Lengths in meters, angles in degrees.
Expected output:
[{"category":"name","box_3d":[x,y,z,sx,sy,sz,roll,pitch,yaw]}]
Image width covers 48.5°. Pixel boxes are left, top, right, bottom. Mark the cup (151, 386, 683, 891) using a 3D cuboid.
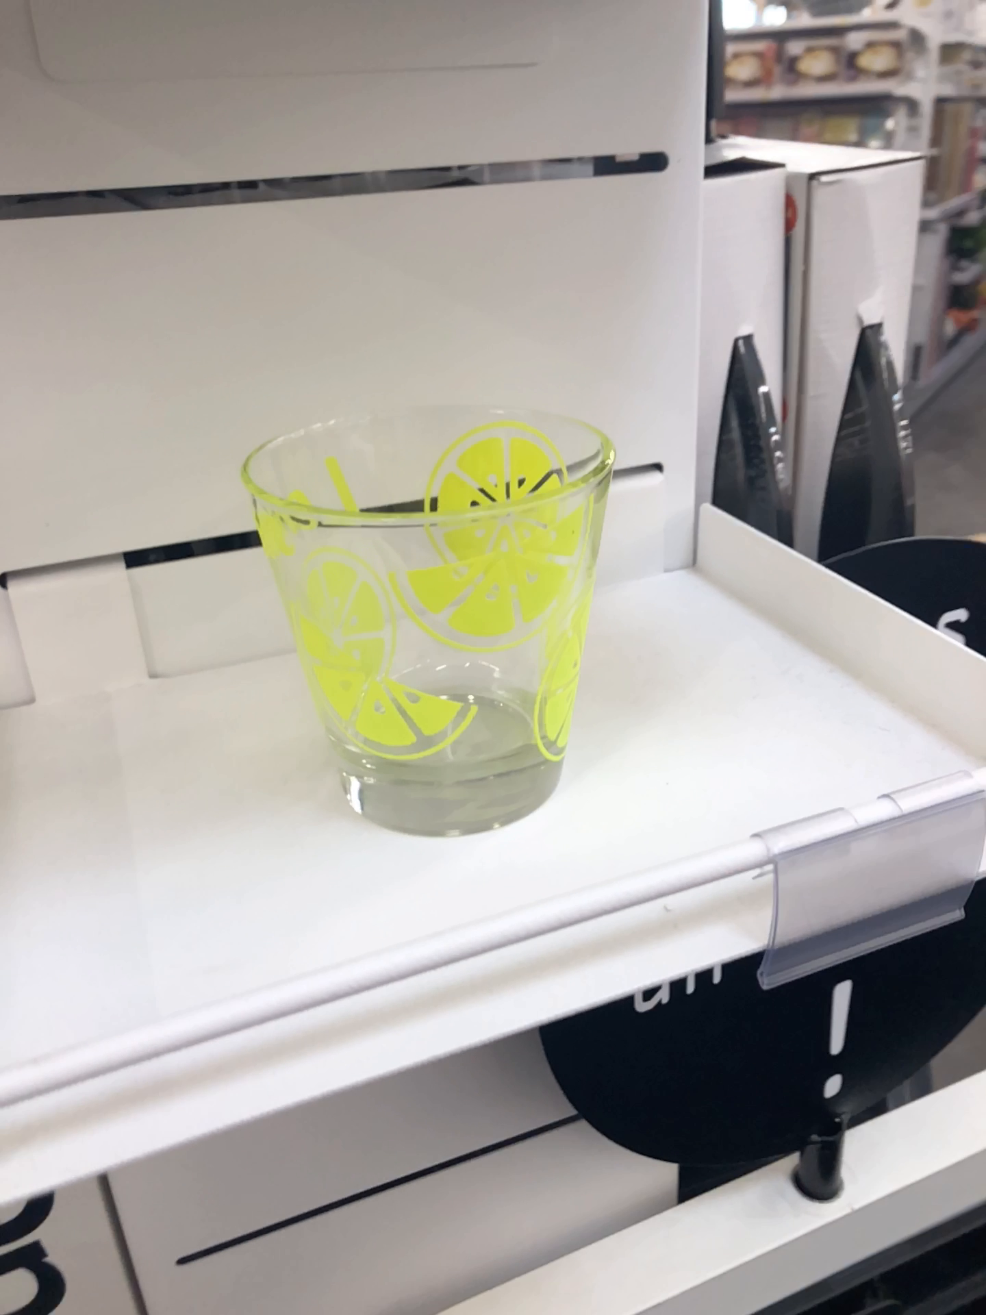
[{"category":"cup","box_3d":[-0.015,-0.013,0.253,0.084,0.075,0.080,-3,26,1]}]
